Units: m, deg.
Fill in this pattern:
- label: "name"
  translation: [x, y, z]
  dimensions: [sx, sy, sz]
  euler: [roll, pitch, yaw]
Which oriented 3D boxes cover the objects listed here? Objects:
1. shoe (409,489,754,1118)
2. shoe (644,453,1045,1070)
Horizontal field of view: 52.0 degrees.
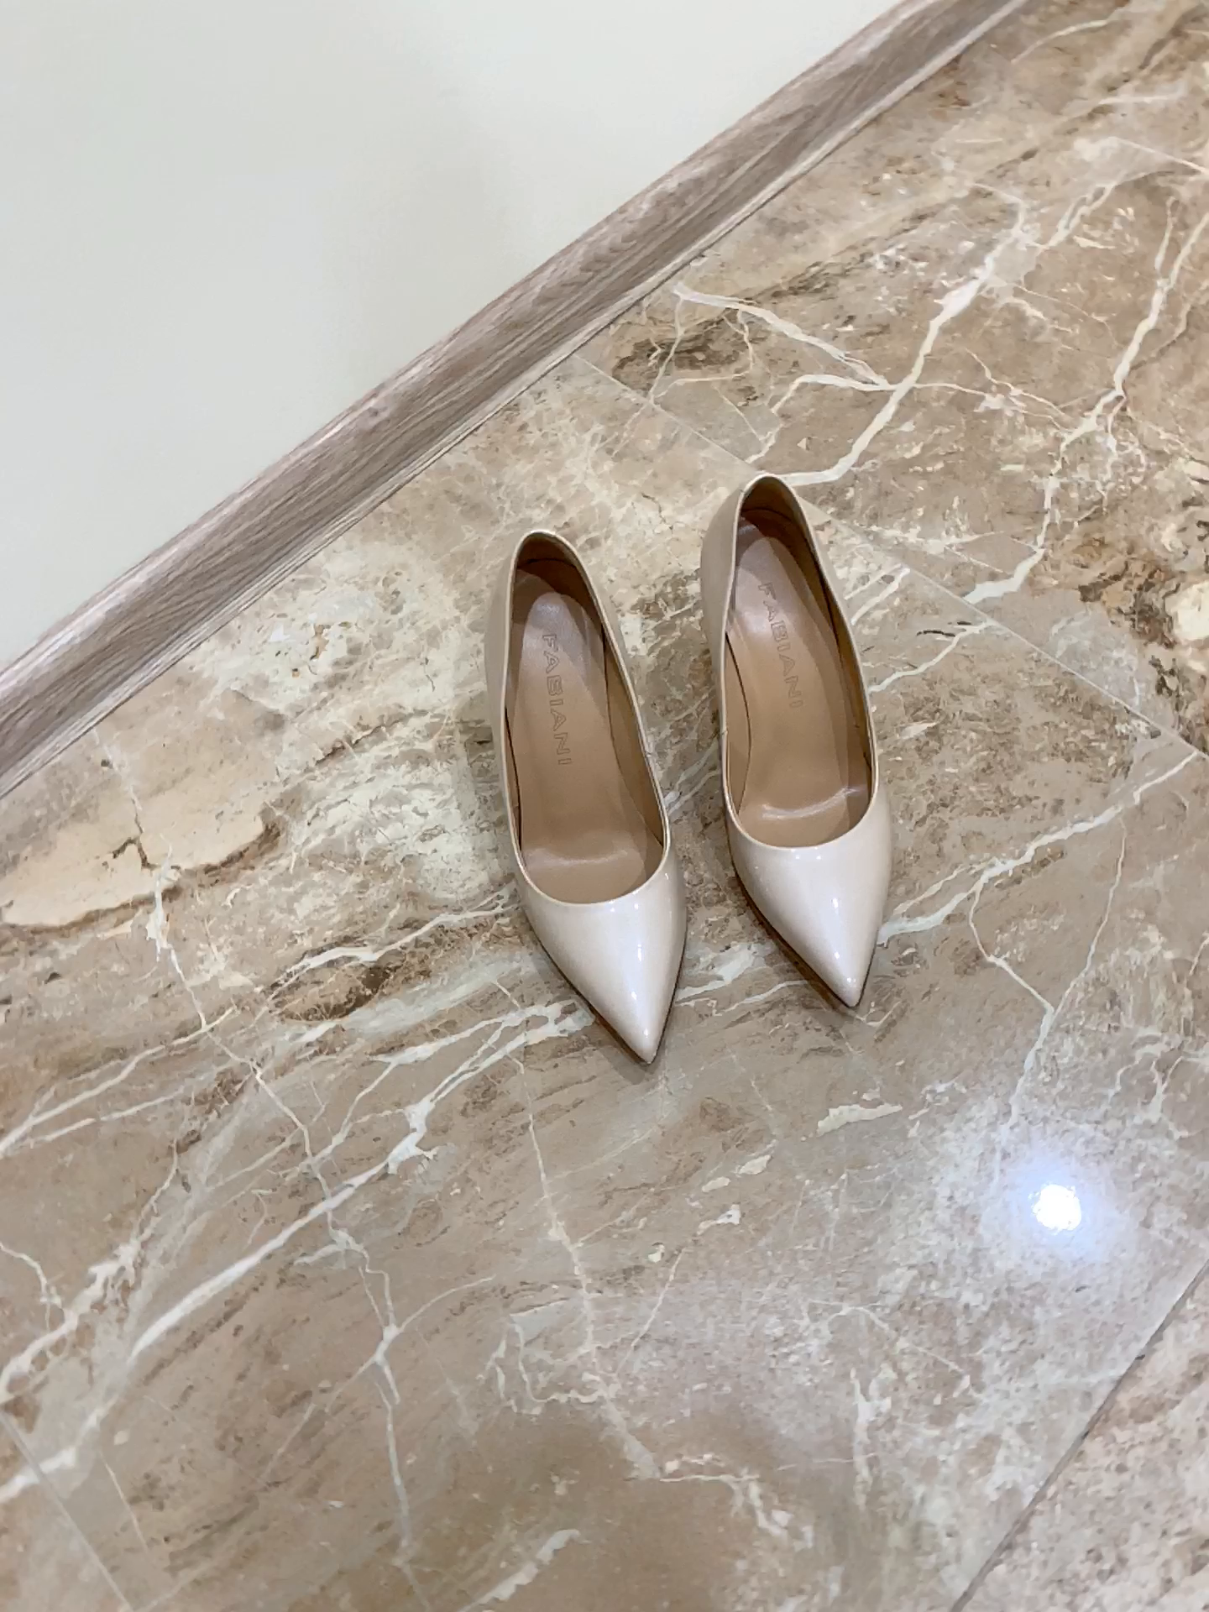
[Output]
- label: "shoe"
  translation: [-0.012, -0.003, 0.554]
  dimensions: [0.090, 0.120, 0.241]
  euler: [-14, 61, -2]
- label: "shoe"
  translation: [0.093, -0.023, 0.554]
  dimensions: [0.090, 0.110, 0.241]
  euler: [-14, 61, -2]
